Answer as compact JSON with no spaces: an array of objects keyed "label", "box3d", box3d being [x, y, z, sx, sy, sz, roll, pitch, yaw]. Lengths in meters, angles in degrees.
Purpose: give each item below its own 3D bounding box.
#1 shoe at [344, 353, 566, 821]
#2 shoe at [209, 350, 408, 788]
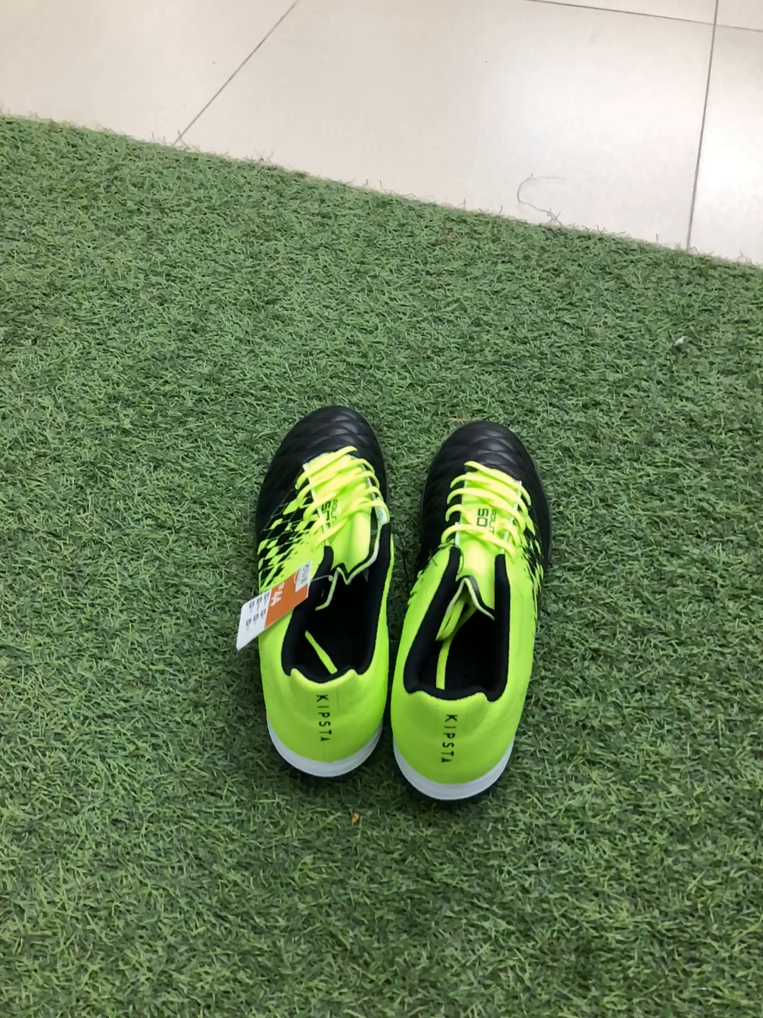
[{"label":"shoe","box3d":[0.054,0.034,0.533,0.100,0.090,0.282,8,52,5]},{"label":"shoe","box3d":[-0.038,0.025,0.544,0.100,0.090,0.282,0,52,-1]}]
